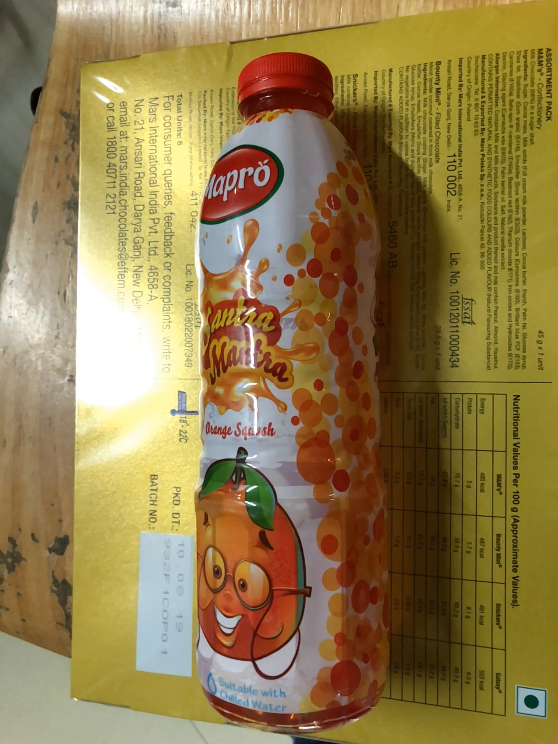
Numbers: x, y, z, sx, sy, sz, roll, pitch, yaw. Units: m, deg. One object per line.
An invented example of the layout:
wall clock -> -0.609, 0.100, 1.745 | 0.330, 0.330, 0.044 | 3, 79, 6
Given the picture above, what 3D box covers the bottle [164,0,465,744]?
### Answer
bottle -> 0.013, -0.008, 0.277 | 0.090, 0.090, 0.300 | 0, 92, 56
